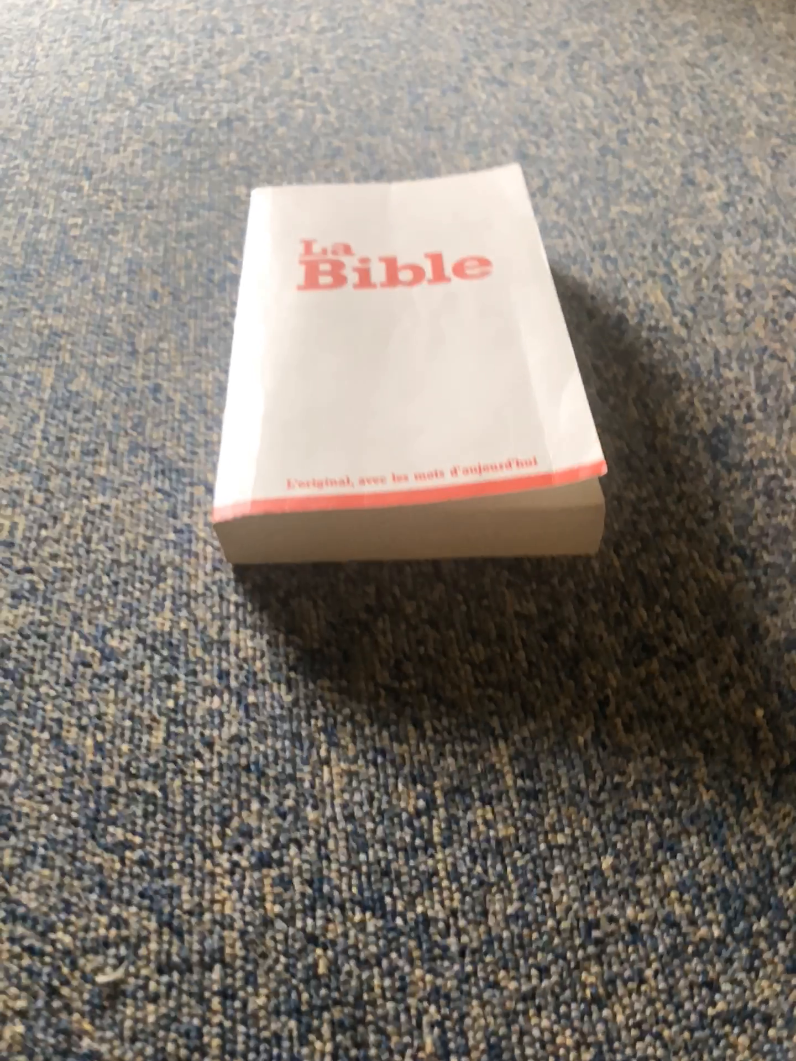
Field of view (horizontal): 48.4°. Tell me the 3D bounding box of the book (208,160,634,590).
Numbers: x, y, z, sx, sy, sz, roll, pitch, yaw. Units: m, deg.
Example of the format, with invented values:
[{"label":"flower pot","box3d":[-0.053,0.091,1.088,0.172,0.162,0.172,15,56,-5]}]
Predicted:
[{"label":"book","box3d":[0.002,-0.077,0.361,0.133,0.042,0.212,-3,49,-2]}]
